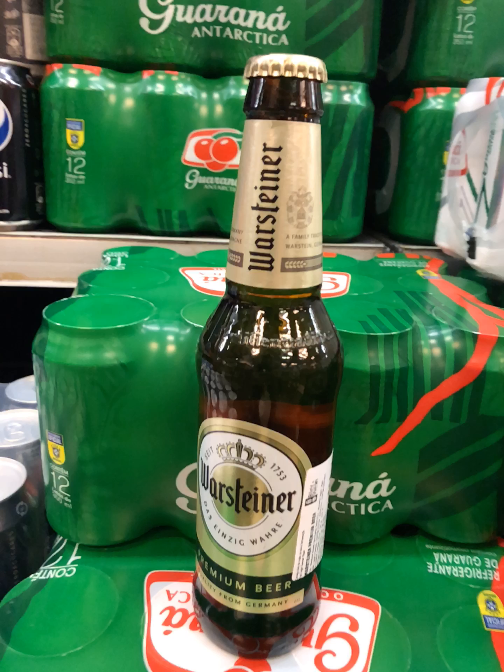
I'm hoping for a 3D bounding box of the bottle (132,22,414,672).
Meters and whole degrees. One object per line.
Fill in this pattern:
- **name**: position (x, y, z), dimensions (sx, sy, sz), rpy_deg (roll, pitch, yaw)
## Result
- **bottle**: position (0.005, 0.016, 0.215), dimensions (0.070, 0.229, 0.060), rpy_deg (12, 21, 26)
